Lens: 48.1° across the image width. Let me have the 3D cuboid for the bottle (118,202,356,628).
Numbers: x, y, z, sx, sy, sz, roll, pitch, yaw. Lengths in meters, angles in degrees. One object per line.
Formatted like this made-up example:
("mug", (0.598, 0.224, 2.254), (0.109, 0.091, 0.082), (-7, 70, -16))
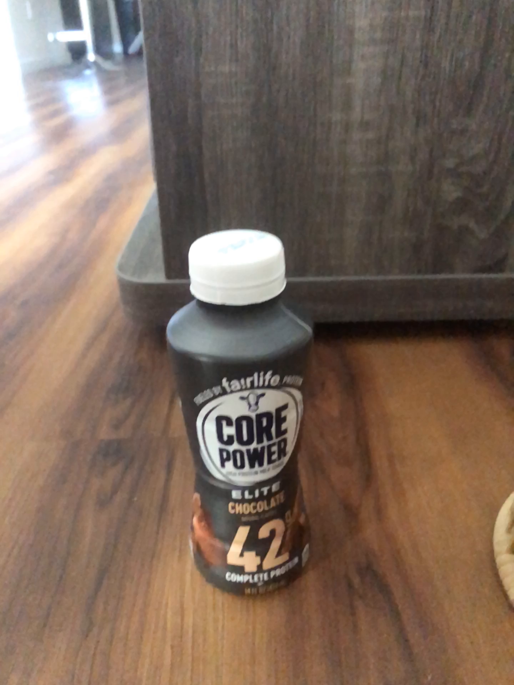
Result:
("bottle", (-0.004, 0.036, 0.281), (0.070, 0.184, 0.070), (-2, 28, 1))
